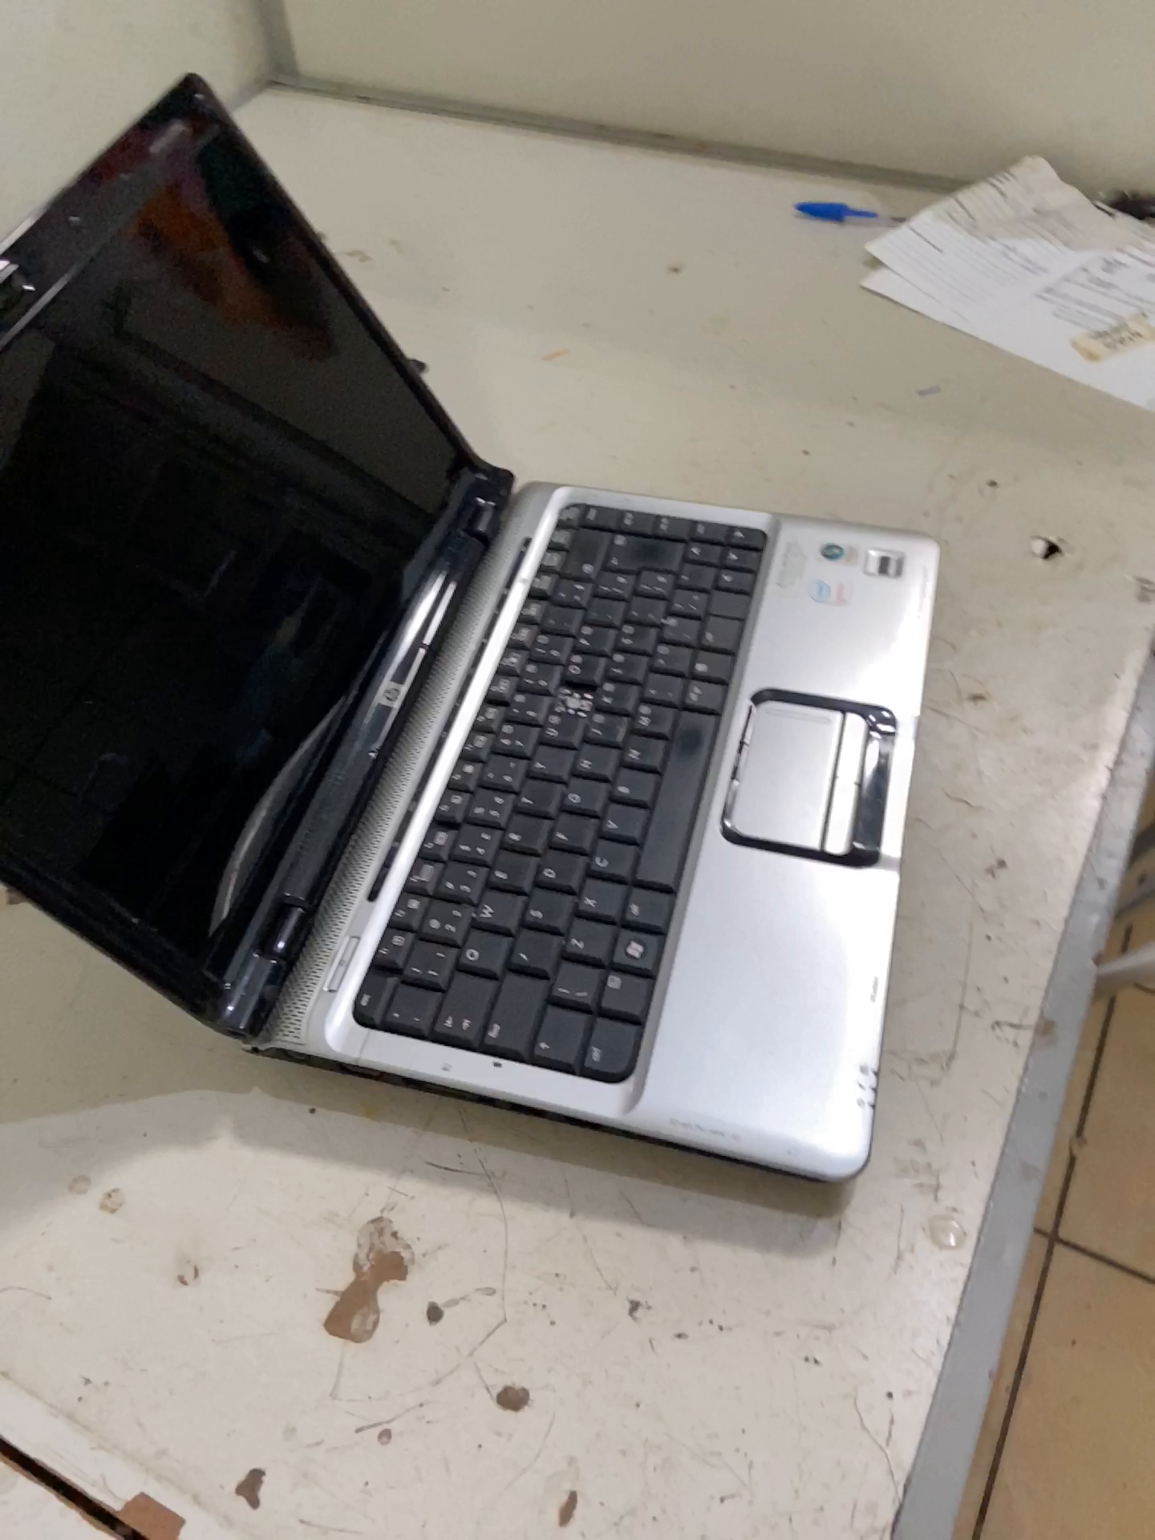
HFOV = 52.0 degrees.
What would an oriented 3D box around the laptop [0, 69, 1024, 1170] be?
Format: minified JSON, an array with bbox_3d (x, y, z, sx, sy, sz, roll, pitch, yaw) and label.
[{"bbox_3d":[-0.035,-0.081,0.442,0.333,0.193,0.322,10,53,12],"label":"laptop"}]
